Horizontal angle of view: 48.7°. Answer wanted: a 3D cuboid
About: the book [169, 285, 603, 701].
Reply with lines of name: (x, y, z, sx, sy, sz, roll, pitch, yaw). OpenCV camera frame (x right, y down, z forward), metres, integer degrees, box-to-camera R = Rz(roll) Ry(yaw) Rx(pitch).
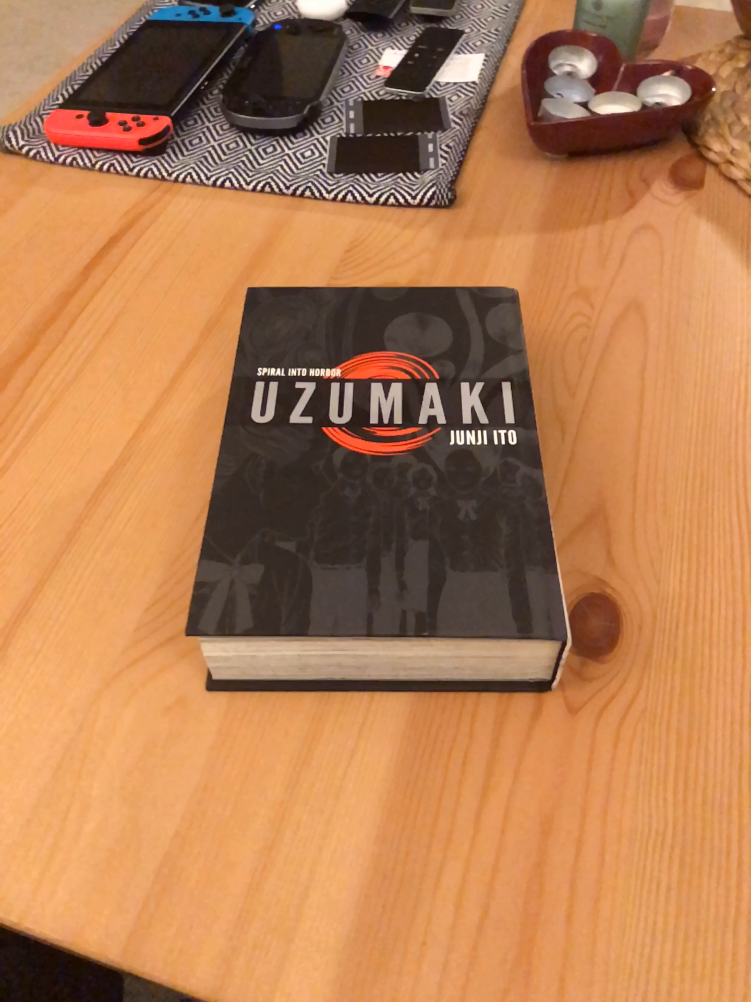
book: (0.006, -0.015, 0.381, 0.156, 0.048, 0.205, 1, 52, 1)
